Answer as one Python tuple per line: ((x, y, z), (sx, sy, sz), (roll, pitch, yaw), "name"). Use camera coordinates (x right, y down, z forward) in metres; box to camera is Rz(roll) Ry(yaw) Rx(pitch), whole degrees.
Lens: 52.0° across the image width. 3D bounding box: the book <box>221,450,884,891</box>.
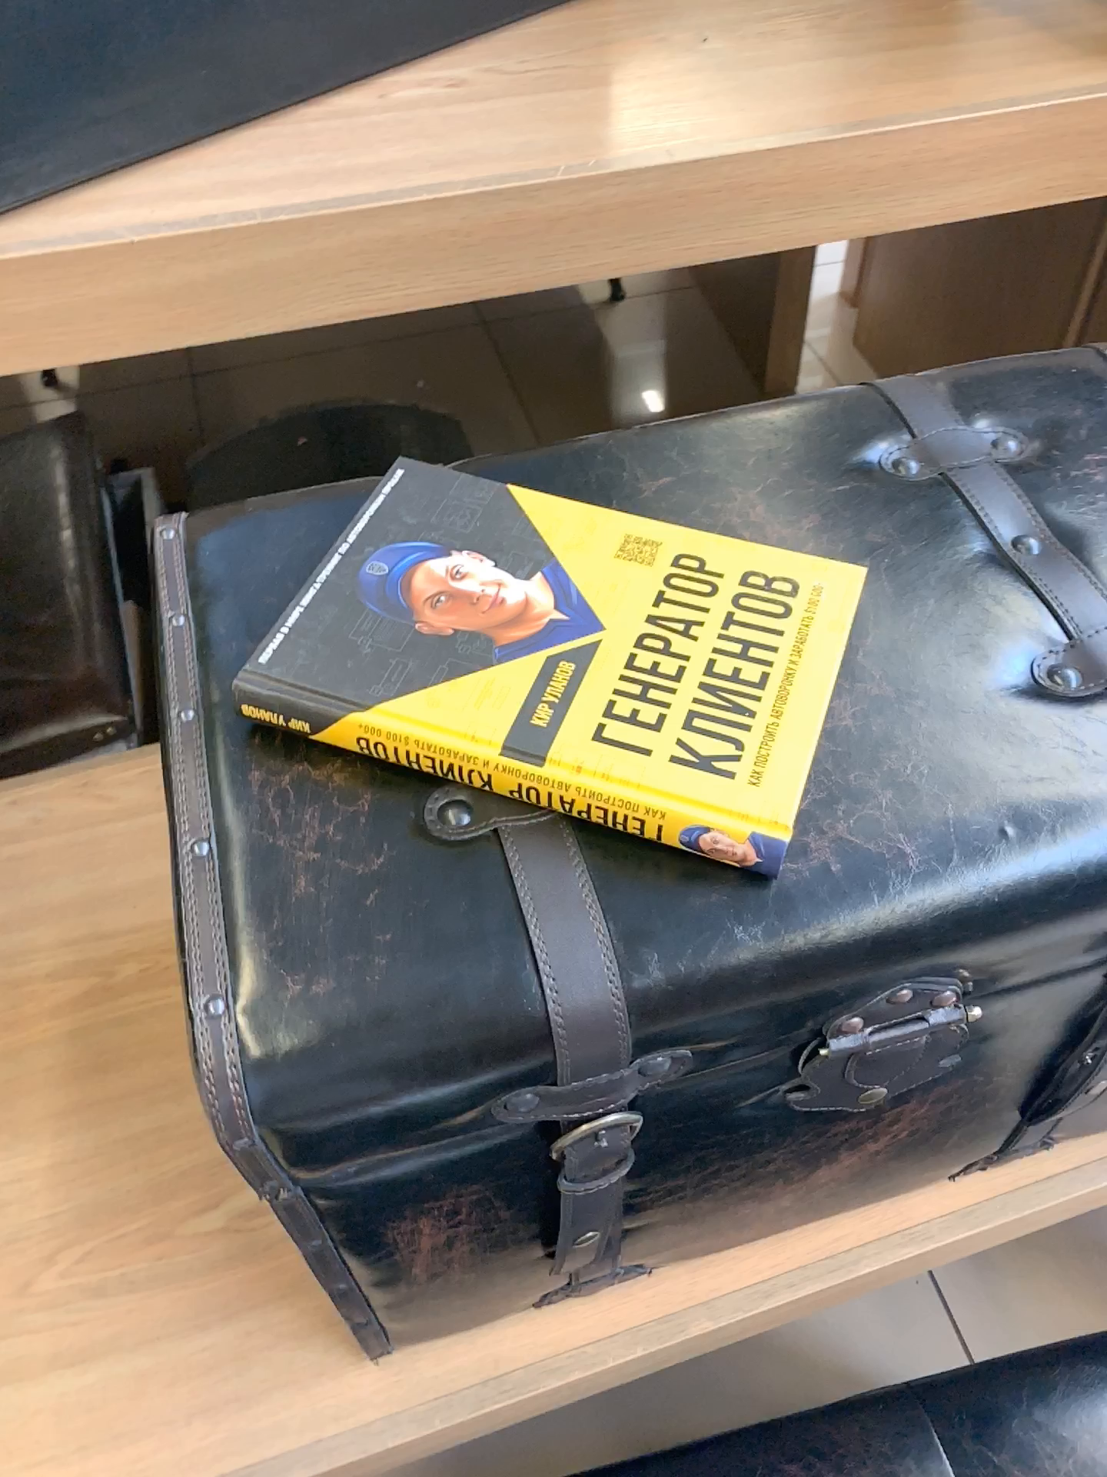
((0.006, -0.043, 0.499), (0.242, 0.030, 0.168), (15, 52, 14), "book")
